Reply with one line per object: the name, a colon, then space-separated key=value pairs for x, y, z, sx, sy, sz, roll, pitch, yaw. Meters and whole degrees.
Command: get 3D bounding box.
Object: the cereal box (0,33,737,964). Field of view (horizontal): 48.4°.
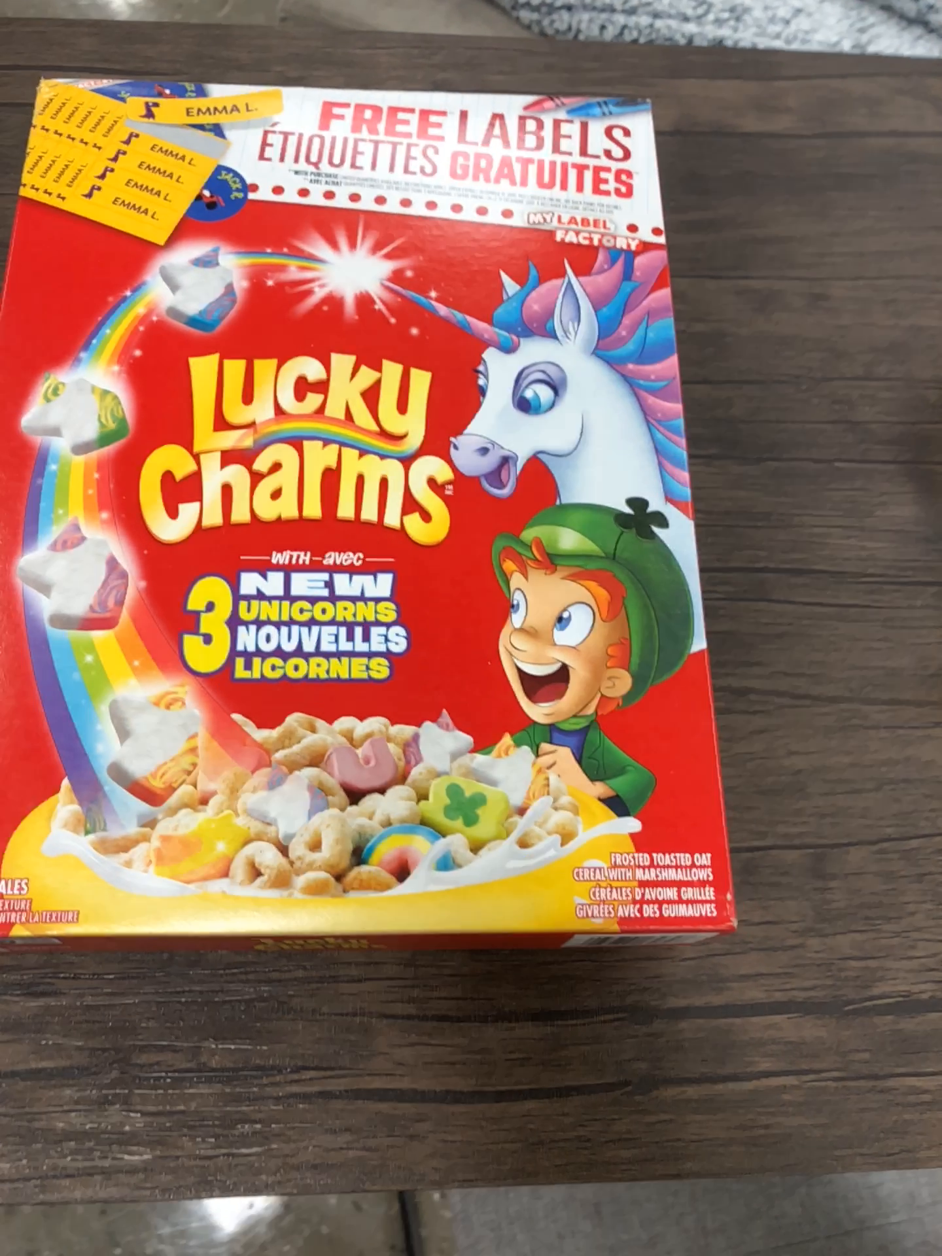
cereal box: x=-0.047 y=-0.056 z=0.379 sx=0.230 sy=0.080 sz=0.330 roll=0 pitch=68 yaw=-3
